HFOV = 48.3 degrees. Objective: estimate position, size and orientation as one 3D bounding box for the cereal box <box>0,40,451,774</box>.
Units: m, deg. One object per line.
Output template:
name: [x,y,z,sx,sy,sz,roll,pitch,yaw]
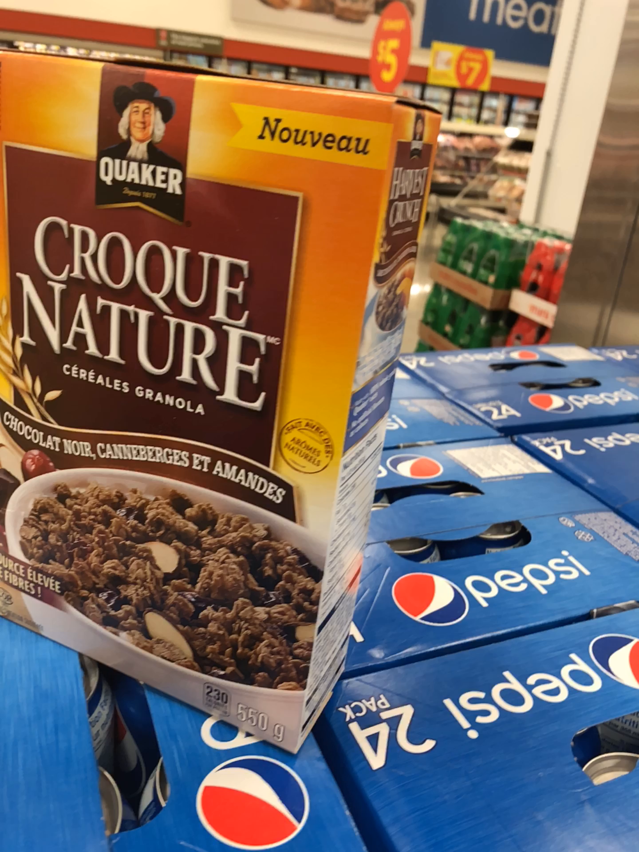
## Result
cereal box: [-0.055,-0.008,0.269,0.160,0.229,0.060,16,25,21]
